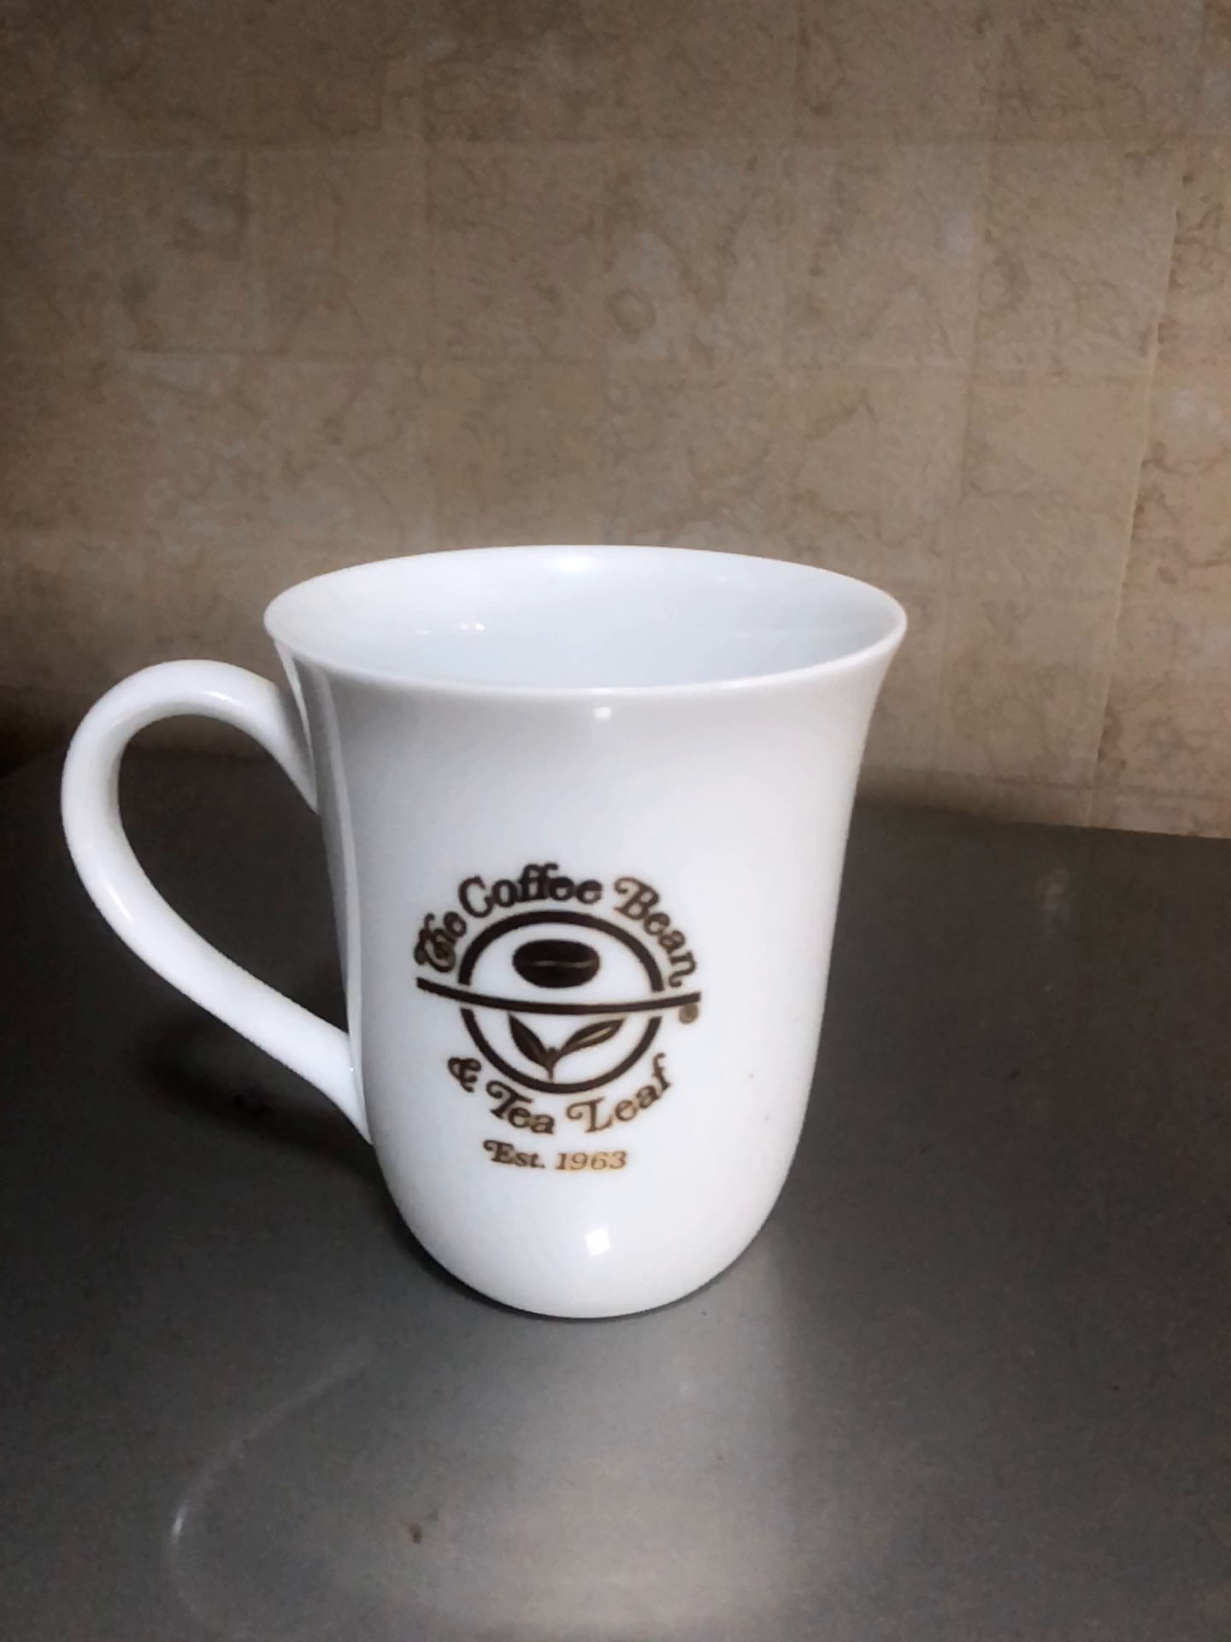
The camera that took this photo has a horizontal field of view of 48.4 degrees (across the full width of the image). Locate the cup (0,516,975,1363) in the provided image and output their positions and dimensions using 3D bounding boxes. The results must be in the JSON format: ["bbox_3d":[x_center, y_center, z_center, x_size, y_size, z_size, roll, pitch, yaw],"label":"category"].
[{"bbox_3d":[-0.022,0.013,0.229,0.130,0.109,0.091,1,21,0],"label":"cup"}]
